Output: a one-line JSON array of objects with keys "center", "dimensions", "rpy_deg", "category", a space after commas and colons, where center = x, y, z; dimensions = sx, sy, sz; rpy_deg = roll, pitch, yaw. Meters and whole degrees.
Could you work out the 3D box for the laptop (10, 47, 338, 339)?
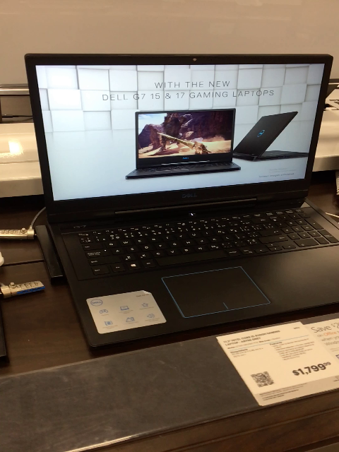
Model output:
[{"center": [0.055, -0.071, 0.569], "dimensions": [0.429, 0.229, 0.297], "rpy_deg": [-9, 42, -17], "category": "laptop"}]
